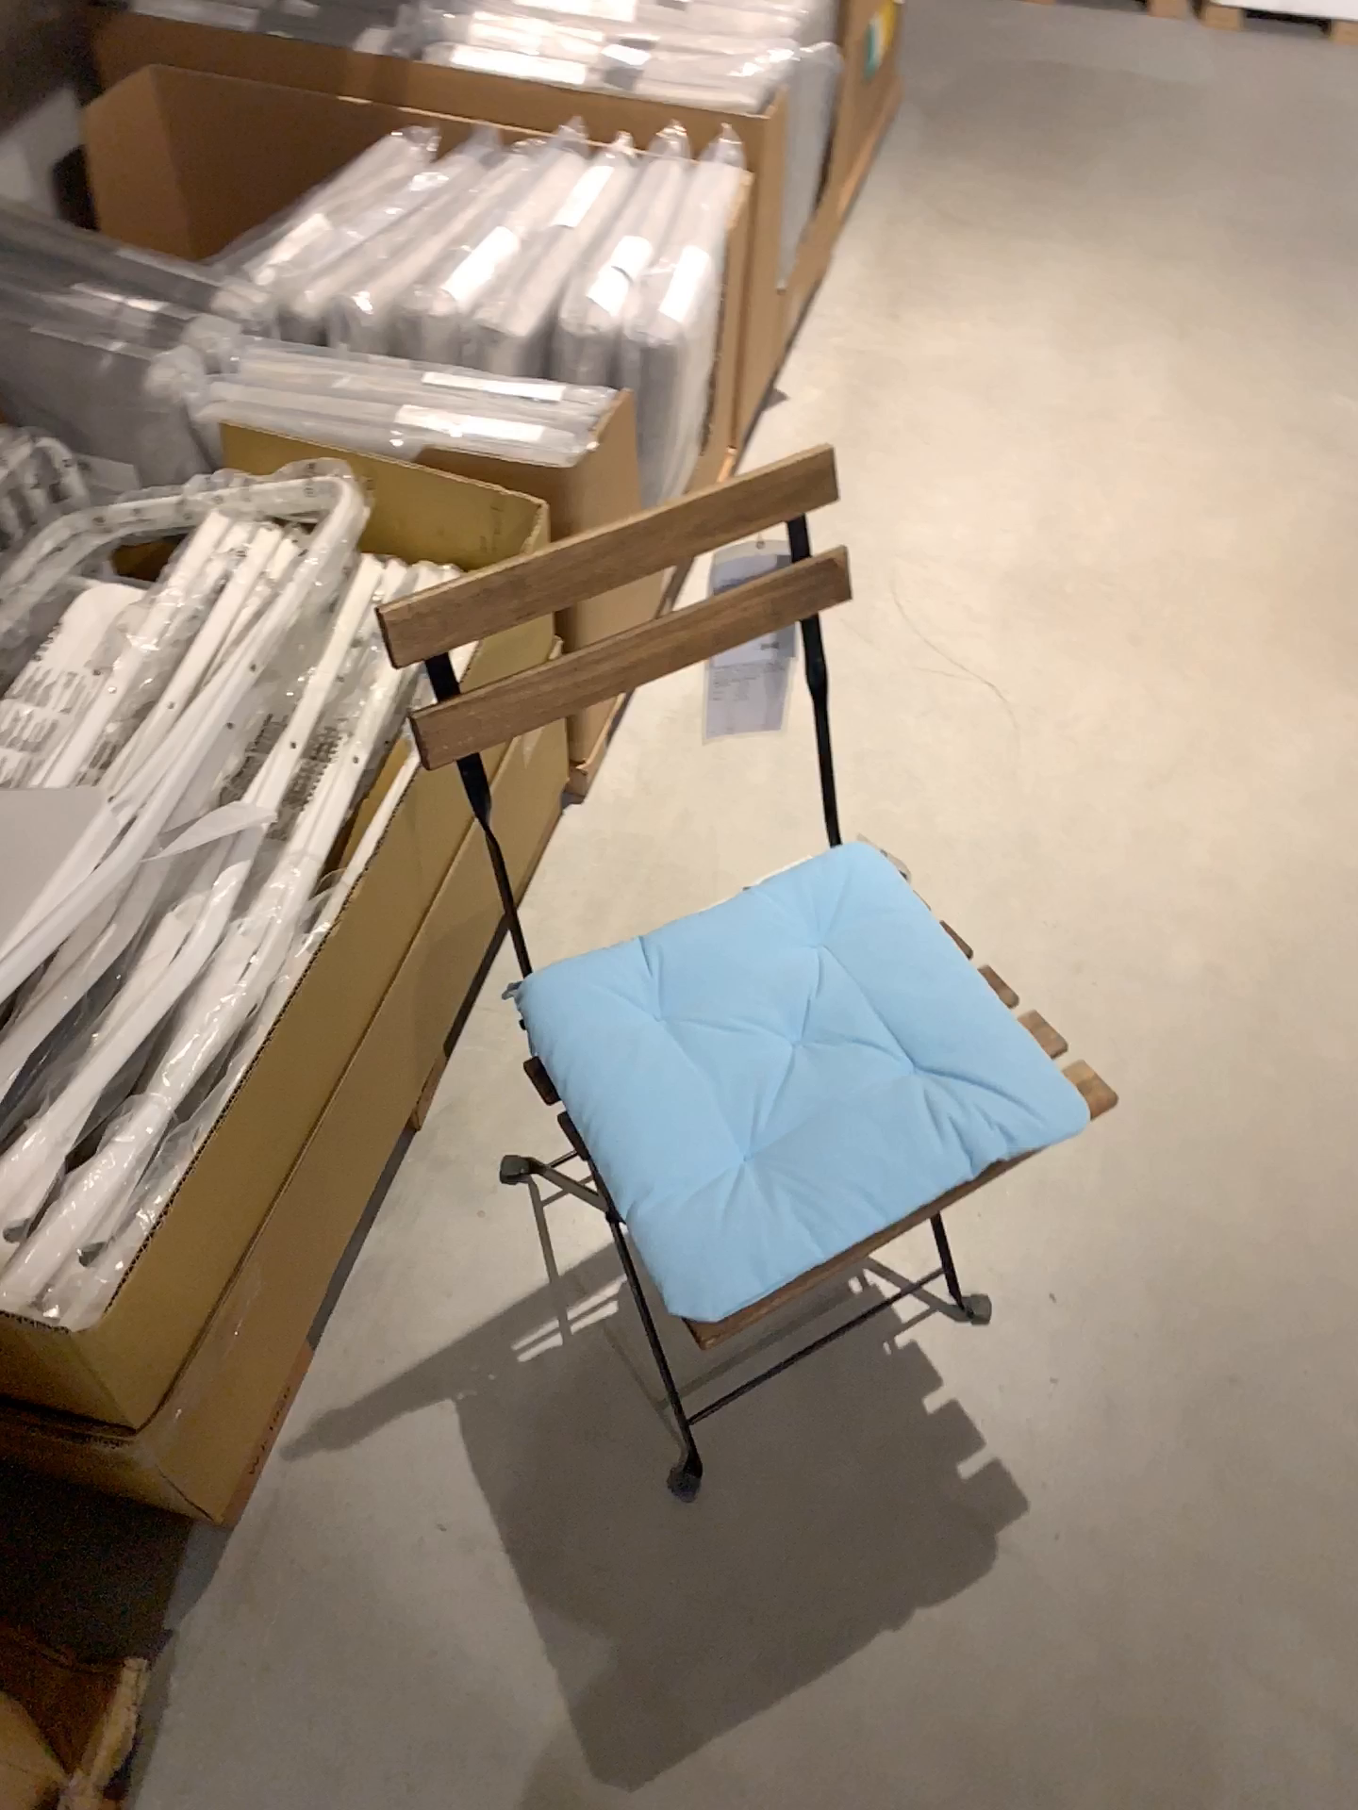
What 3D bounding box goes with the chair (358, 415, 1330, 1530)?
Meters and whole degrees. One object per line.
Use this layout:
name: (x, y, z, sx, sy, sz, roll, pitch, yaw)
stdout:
chair: (0.073, 0.098, 1.134, 0.400, 0.738, 0.461, -25, 57, -20)
